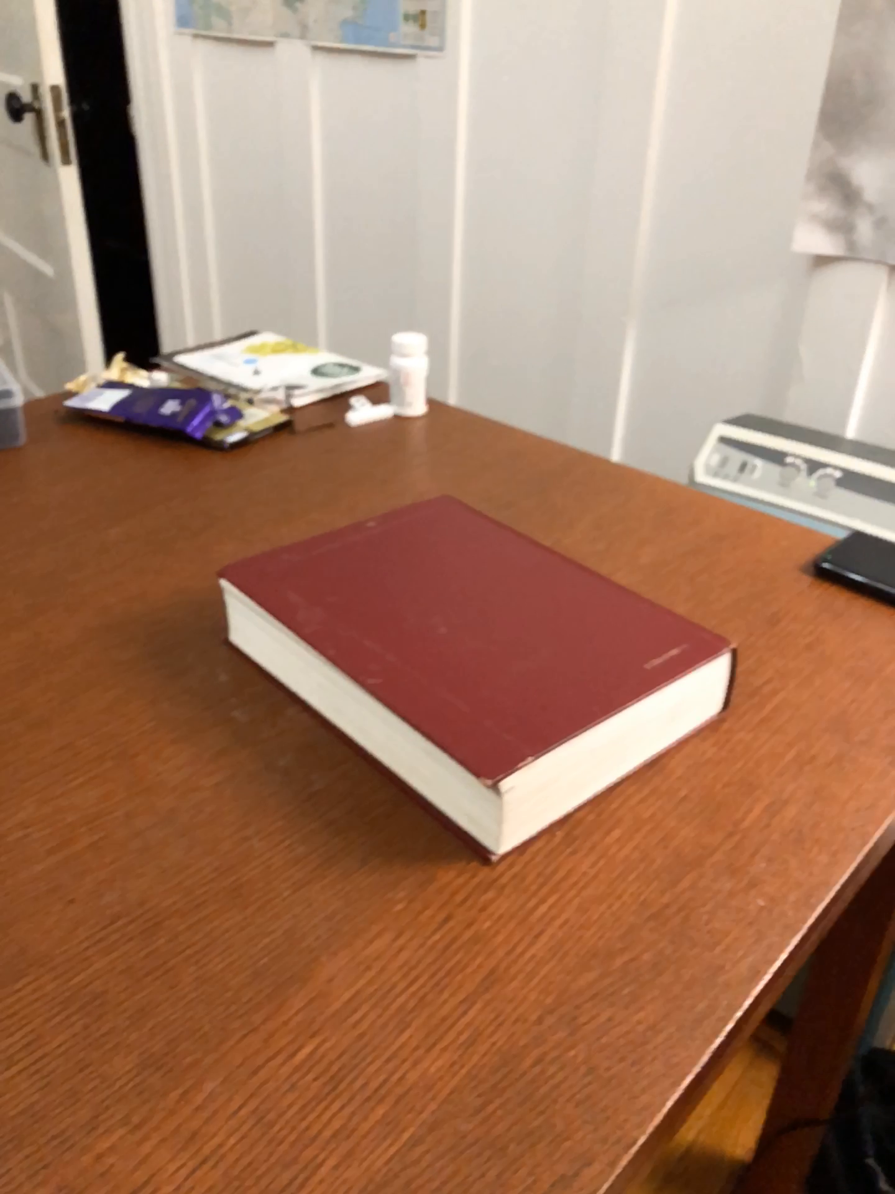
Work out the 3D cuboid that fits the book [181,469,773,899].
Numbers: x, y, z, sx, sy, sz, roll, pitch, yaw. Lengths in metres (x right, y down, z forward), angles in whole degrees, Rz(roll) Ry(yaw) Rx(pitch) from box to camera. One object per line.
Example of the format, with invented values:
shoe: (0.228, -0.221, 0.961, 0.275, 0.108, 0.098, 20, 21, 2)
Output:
book: (0.008, 0.023, 0.618, 0.221, 0.070, 0.291, -22, 37, -36)
